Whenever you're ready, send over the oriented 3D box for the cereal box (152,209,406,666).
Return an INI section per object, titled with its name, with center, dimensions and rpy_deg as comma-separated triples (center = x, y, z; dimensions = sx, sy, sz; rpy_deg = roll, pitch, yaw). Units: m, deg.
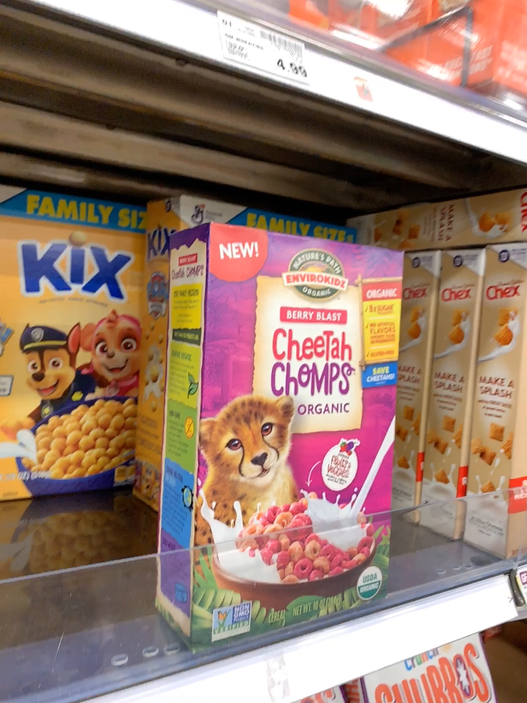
[cereal box]
center = 0.014, 0.052, 0.388
dimensions = 0.160, 0.270, 0.060
rpy_deg = 2, 2, -31
